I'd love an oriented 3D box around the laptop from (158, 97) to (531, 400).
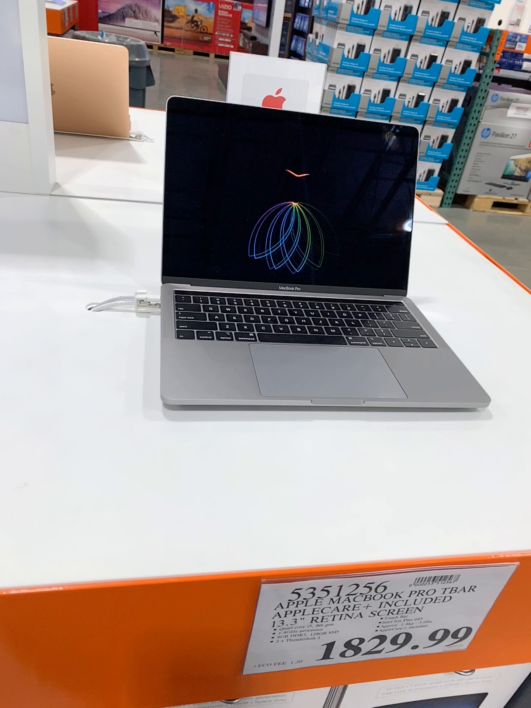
[{"bbox_3d":[0.048,-0.118,0.533,0.289,0.165,0.308,2,34,-11],"label":"laptop"}]
